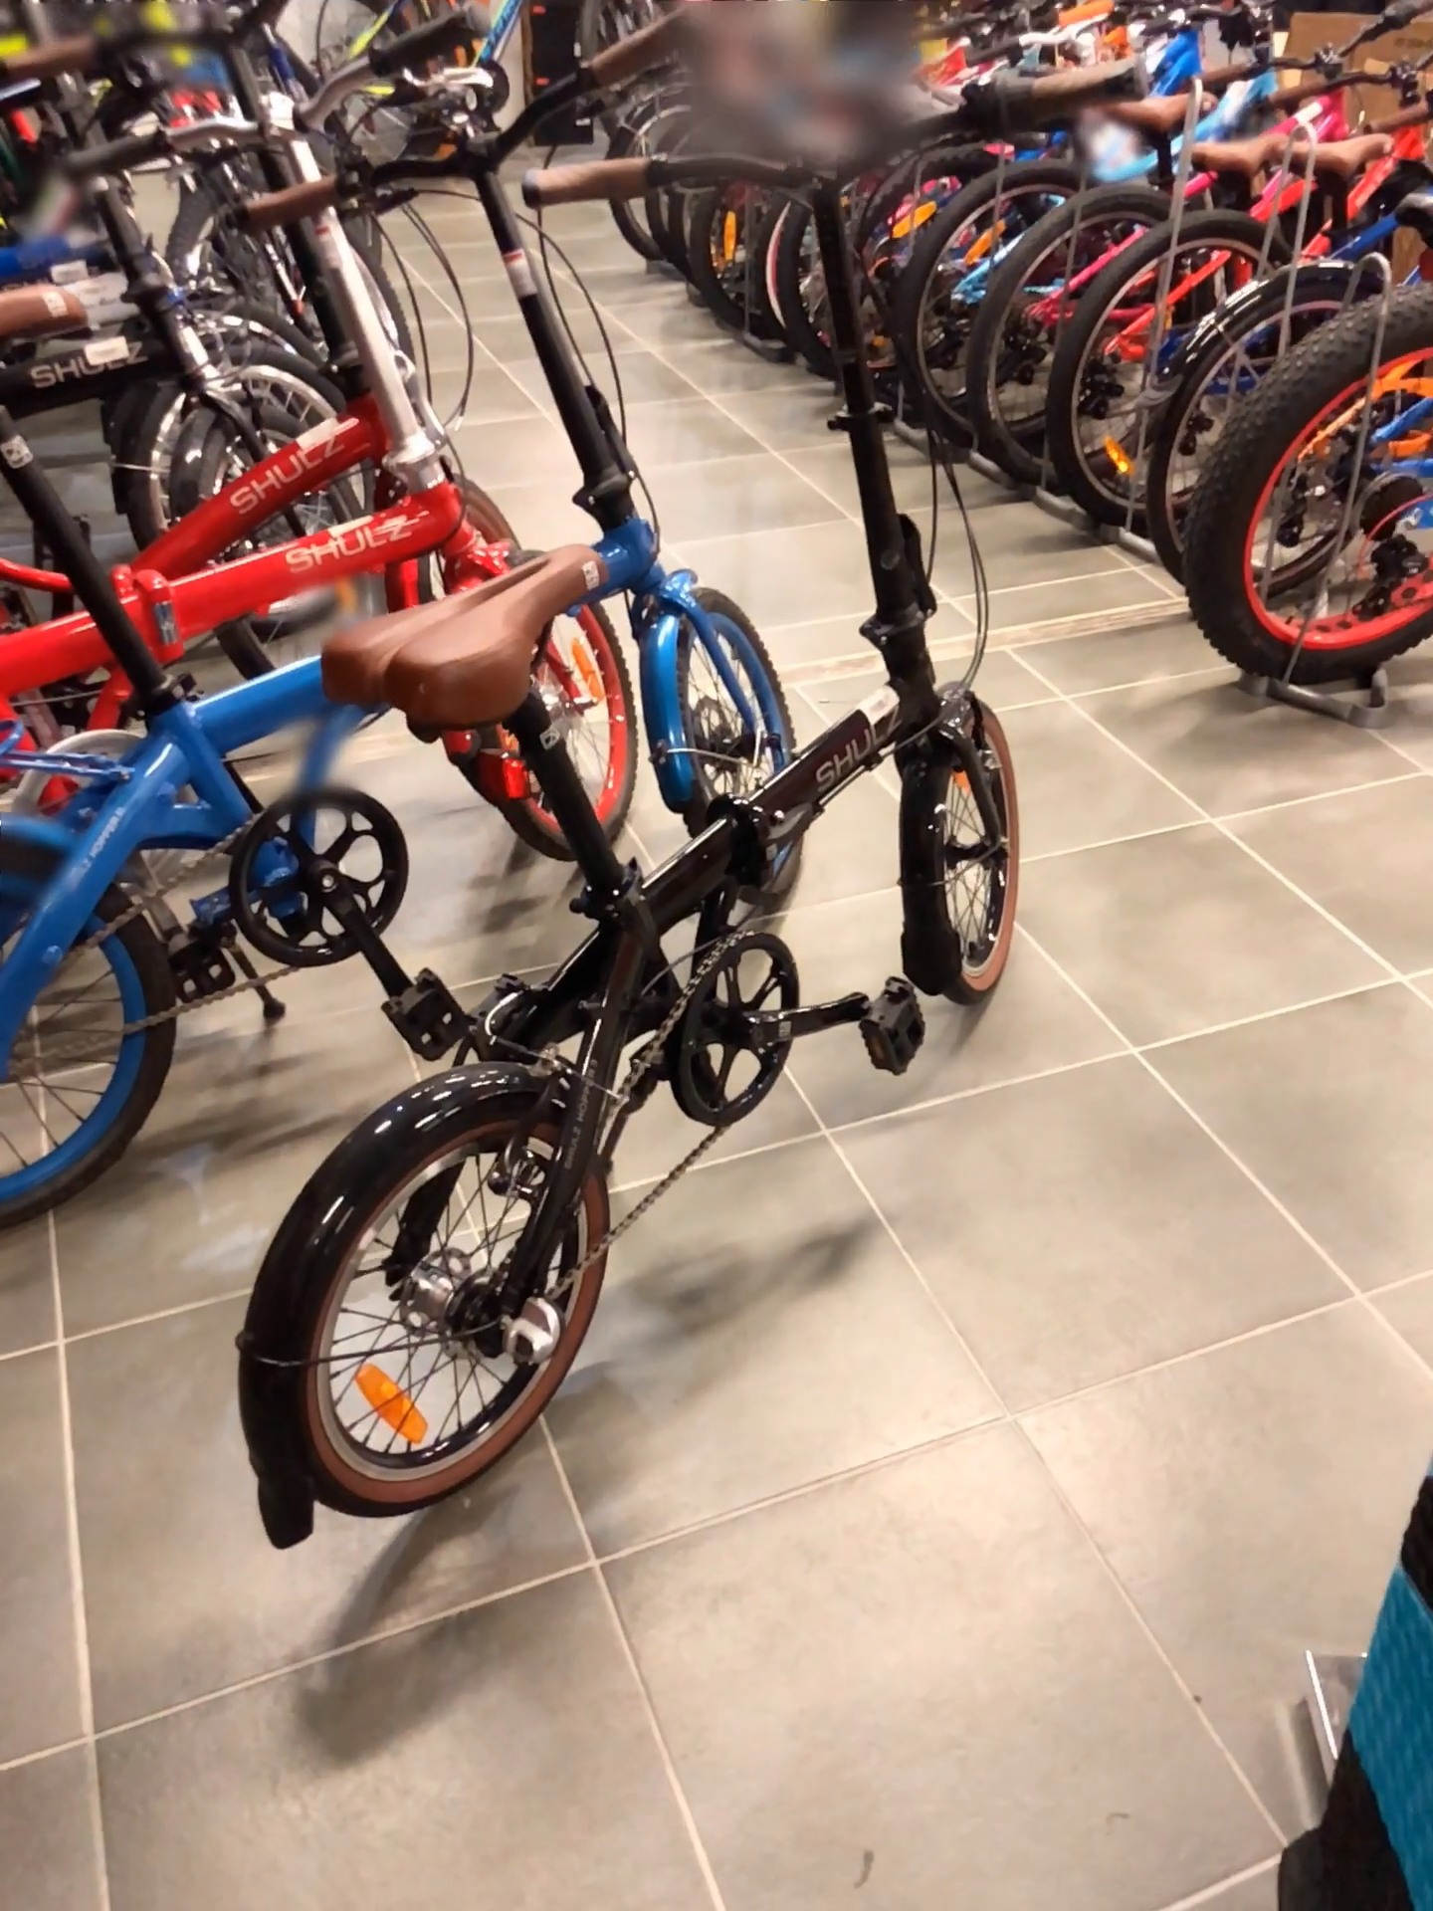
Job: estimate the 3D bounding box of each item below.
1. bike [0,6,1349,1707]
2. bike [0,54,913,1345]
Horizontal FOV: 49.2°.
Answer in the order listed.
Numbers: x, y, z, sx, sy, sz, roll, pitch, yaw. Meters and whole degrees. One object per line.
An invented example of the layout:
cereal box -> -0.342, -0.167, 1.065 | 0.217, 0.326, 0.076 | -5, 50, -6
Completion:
bike -> -0.007, -0.220, 1.501 | 0.565, 1.057, 1.278 | 22, 41, 26
bike -> -0.474, -0.411, 1.803 | 0.568, 1.029, 1.377 | 31, 43, 34
